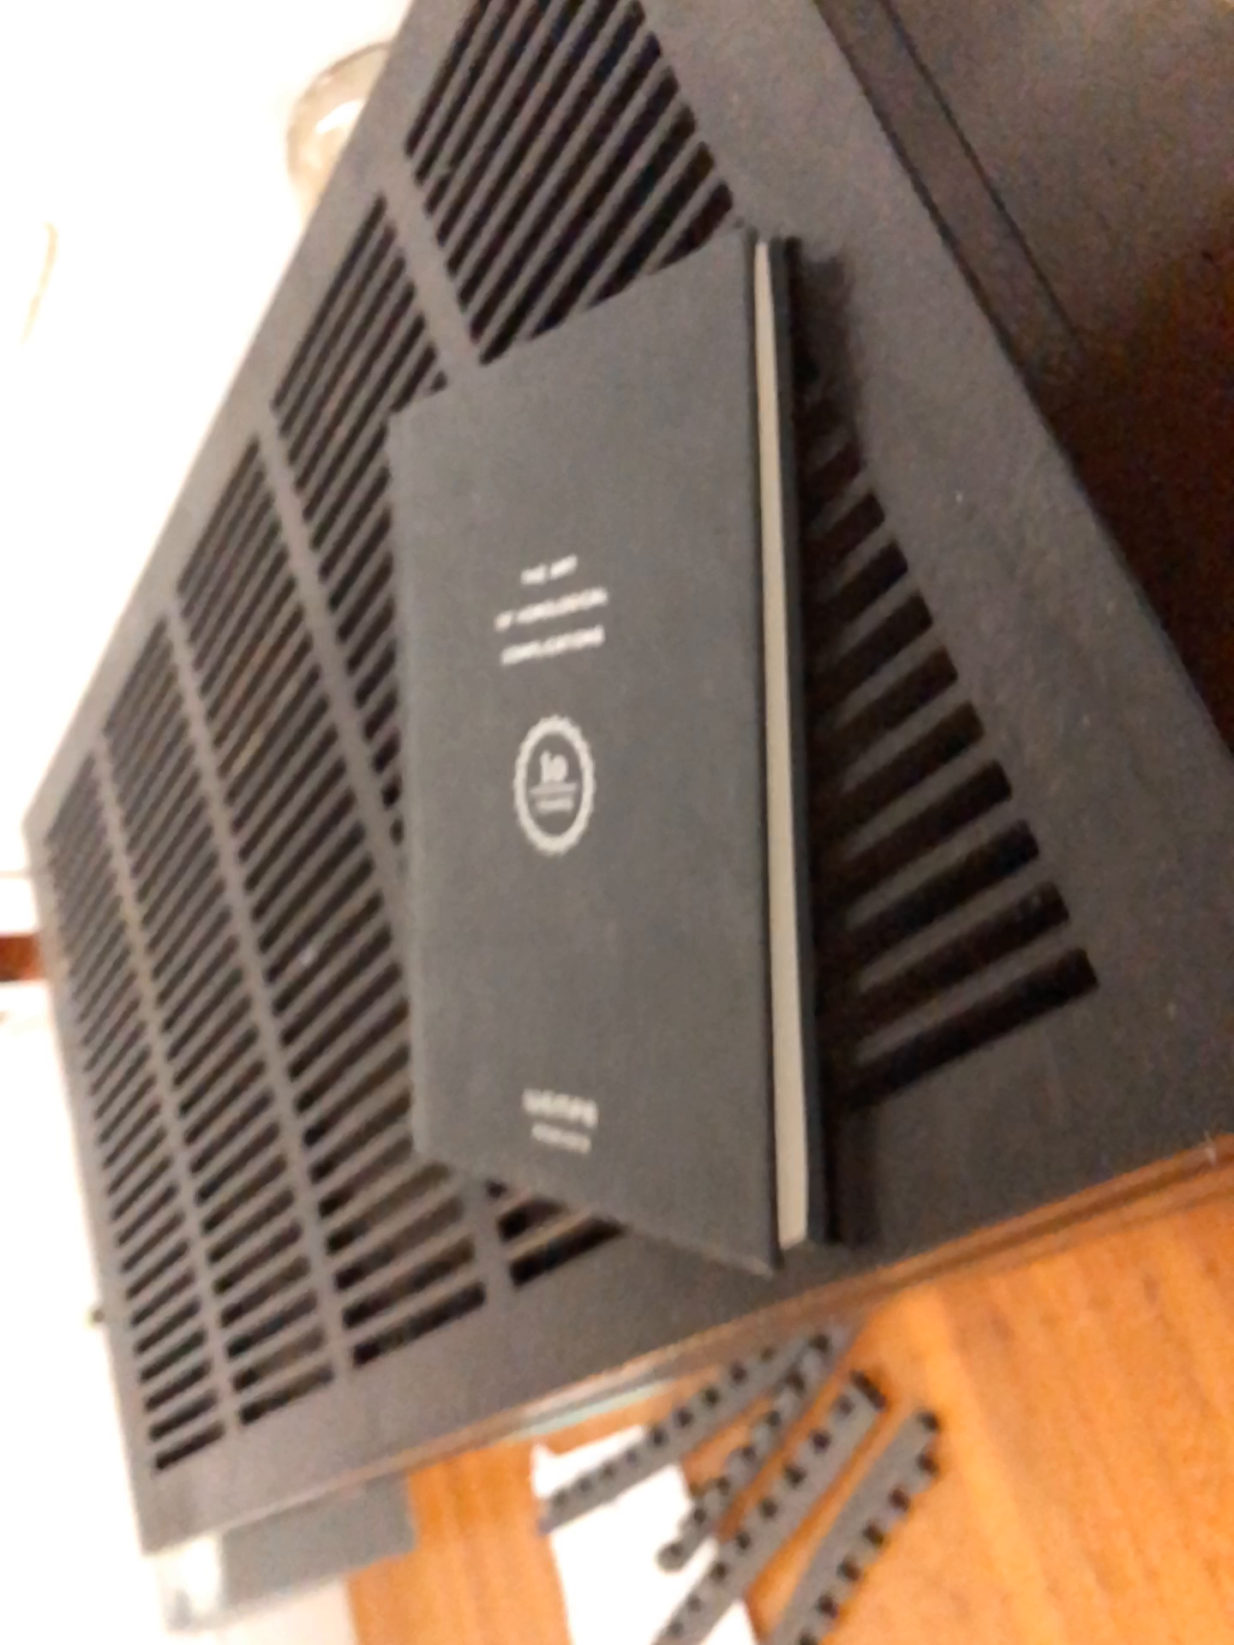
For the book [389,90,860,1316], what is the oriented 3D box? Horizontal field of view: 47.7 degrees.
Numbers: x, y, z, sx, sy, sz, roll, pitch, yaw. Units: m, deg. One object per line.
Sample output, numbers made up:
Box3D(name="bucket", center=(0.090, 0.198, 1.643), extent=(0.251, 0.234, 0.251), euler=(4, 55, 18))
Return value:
Box3D(name="book", center=(-0.009, -0.023, 0.354), extent=(0.161, 0.020, 0.250), euler=(-4, 87, 53))
